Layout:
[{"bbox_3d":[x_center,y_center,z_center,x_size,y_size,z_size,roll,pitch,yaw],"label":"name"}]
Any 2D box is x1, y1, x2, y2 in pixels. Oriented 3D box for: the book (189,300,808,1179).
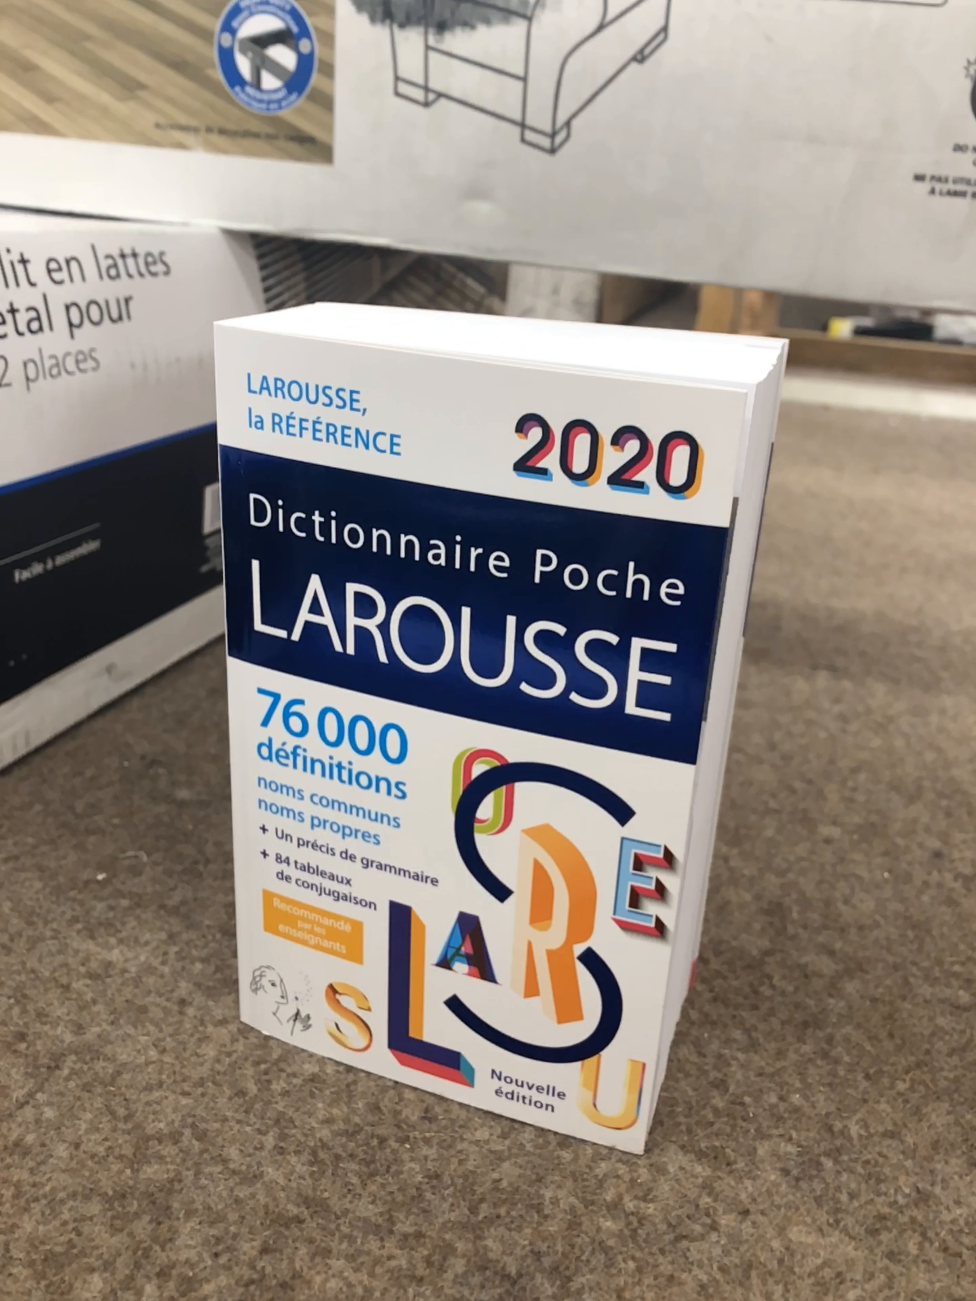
[{"bbox_3d":[0.000,0.016,0.252,0.111,0.173,0.061,11,24,18],"label":"book"}]
